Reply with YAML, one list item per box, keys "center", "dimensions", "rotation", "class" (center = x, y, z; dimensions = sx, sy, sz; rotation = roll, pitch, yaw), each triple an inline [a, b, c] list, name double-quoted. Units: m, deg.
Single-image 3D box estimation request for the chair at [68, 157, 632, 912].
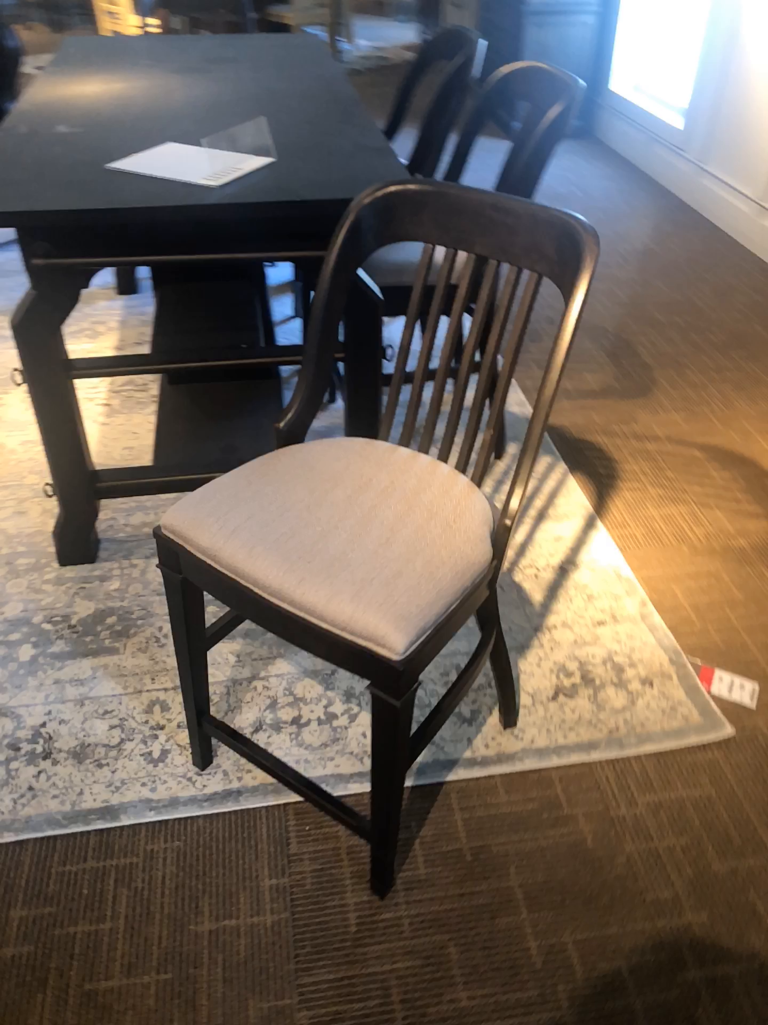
- center: [-0.019, 0.036, 1.378]
  dimensions: [0.481, 0.985, 0.572]
  rotation: [23, 42, 27]
  class: "chair"
